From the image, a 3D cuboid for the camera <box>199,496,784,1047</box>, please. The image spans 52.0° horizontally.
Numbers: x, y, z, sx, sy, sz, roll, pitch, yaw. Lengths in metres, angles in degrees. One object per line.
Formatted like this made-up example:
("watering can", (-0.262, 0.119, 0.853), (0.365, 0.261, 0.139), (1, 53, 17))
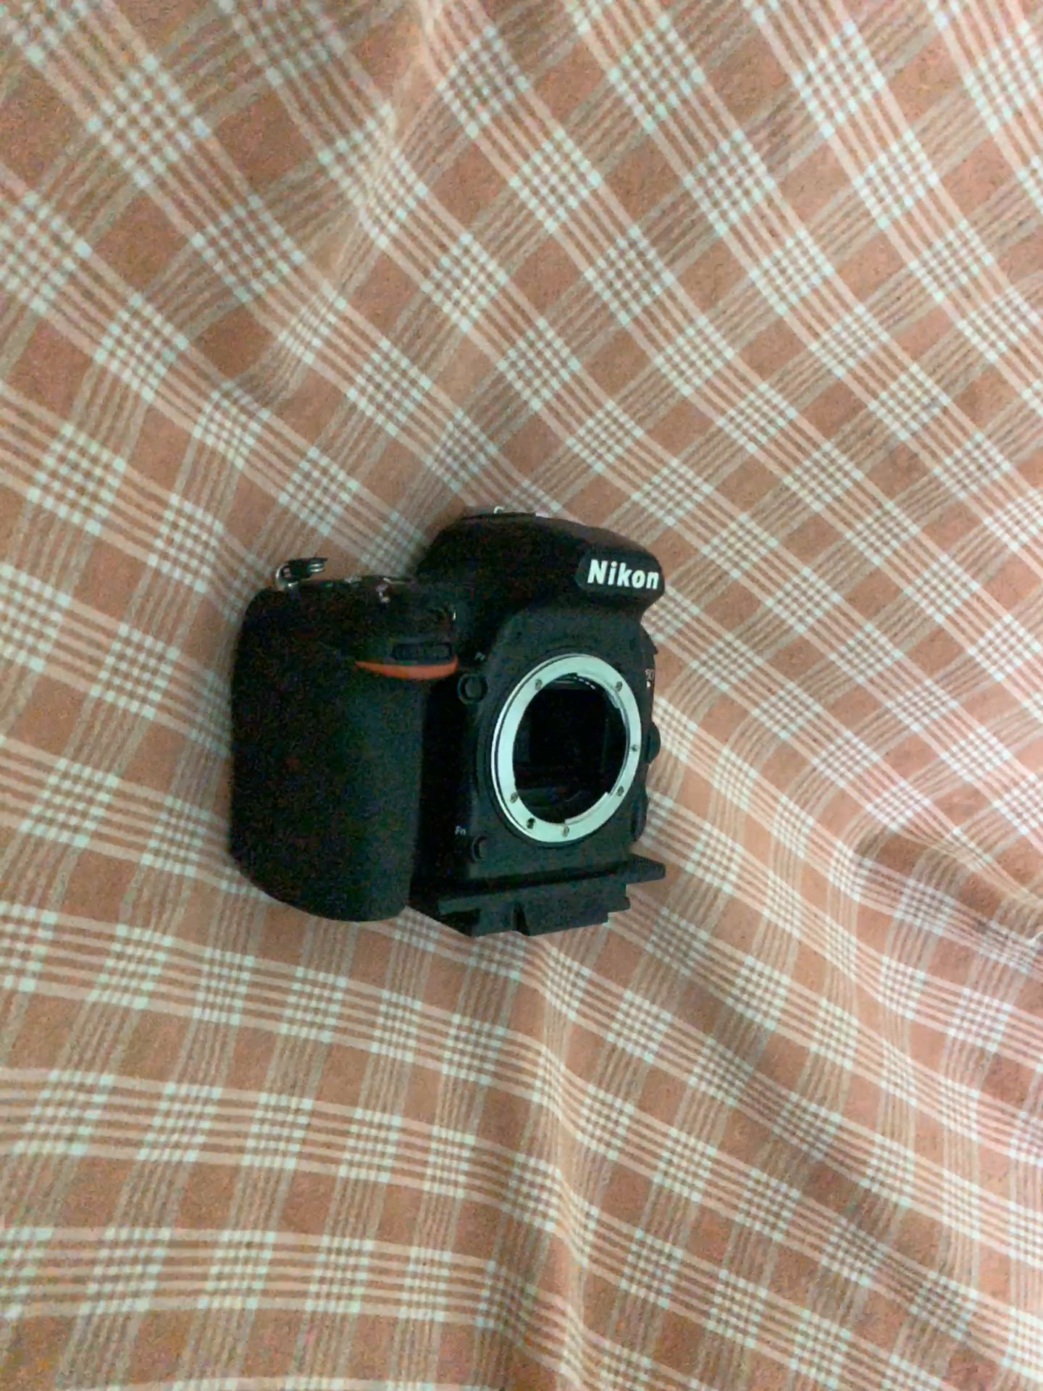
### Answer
("camera", (-0.006, 0.011, 0.317), (0.146, 0.085, 0.125), (-2, 99, -42))
